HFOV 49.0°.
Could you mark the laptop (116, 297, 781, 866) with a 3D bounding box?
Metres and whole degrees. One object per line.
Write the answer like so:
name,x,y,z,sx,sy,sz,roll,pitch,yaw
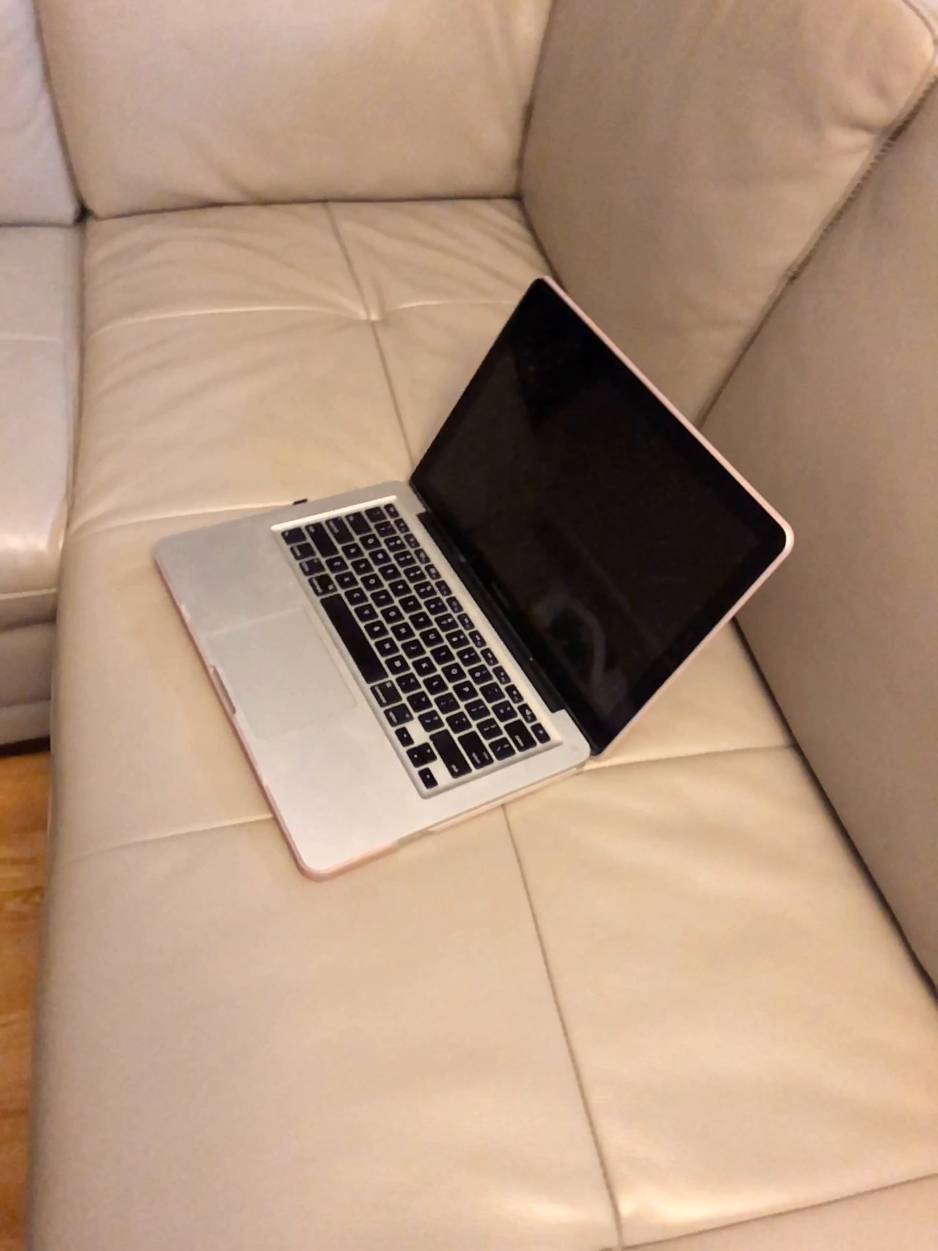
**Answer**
laptop,-0.026,-0.053,0.734,0.322,0.166,0.309,-19,54,-22
